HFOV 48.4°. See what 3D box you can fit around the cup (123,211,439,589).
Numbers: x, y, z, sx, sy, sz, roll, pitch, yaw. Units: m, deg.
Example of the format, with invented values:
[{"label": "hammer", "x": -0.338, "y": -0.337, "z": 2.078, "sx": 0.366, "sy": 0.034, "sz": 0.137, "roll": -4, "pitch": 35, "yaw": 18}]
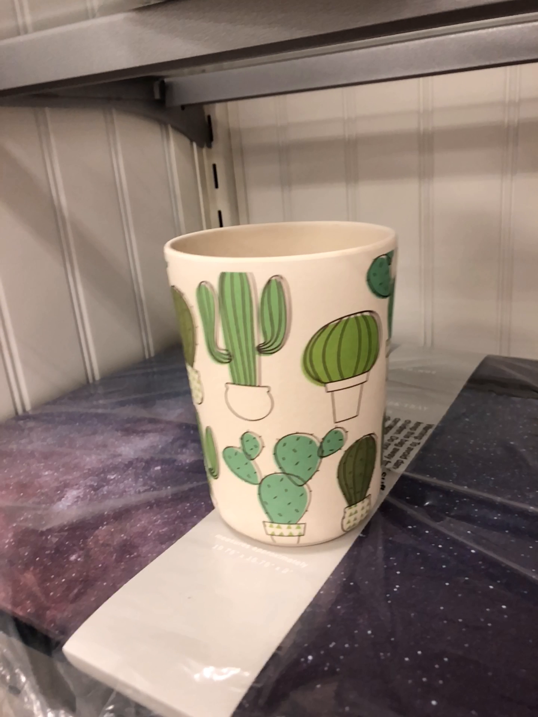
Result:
[{"label": "cup", "x": 0.009, "y": 0.005, "z": 0.274, "sx": 0.090, "sy": 0.129, "sz": 0.100, "roll": -22, "pitch": 25, "yaw": -39}]
